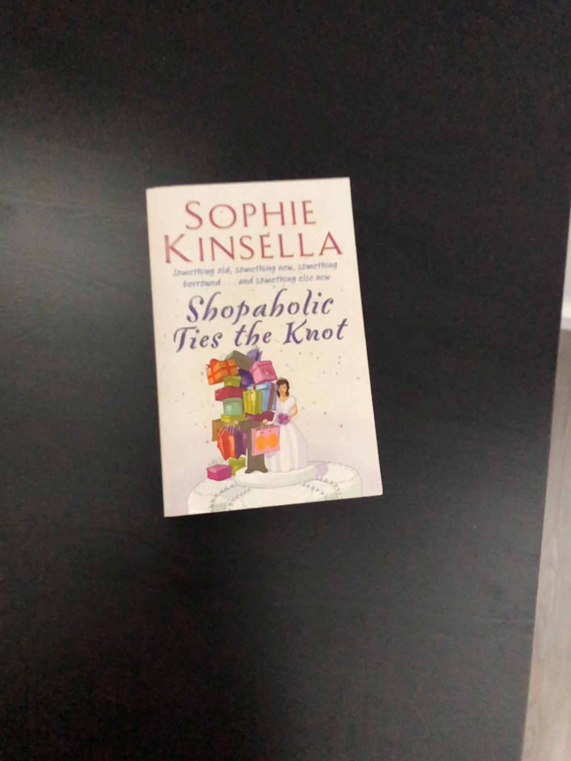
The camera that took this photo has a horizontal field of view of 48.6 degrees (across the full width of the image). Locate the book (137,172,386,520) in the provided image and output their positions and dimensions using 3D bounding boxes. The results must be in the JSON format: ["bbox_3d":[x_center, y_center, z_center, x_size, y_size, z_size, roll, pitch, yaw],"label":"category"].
[{"bbox_3d":[-0.017,-0.023,0.388,0.130,0.035,0.200,-4,81,-5],"label":"book"}]
